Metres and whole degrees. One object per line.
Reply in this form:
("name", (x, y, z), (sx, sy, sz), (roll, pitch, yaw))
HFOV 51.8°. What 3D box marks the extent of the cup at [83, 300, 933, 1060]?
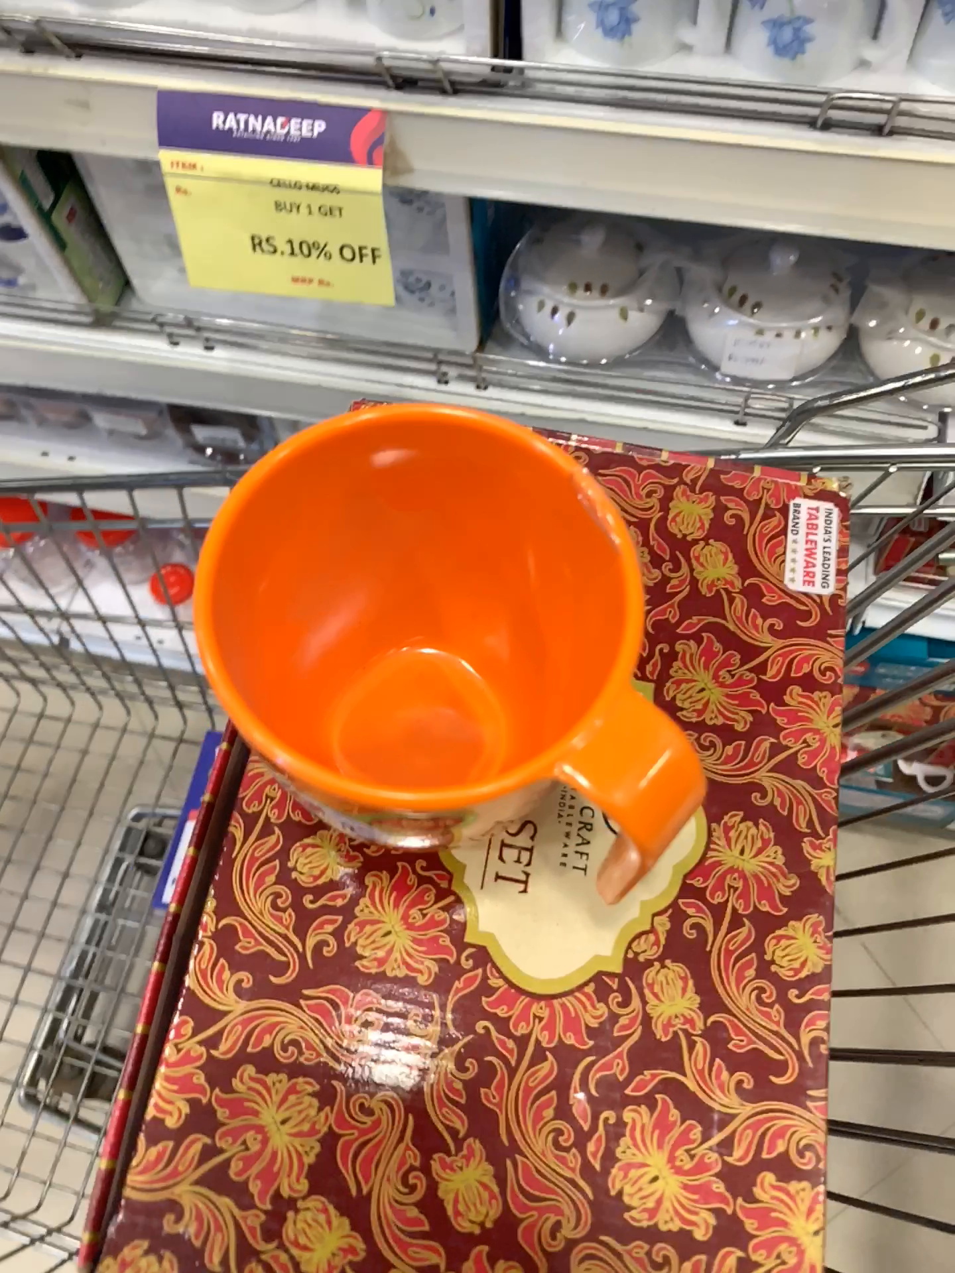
("cup", (0.005, 0.011, 0.190), (0.110, 0.070, 0.080), (33, 71, 12))
